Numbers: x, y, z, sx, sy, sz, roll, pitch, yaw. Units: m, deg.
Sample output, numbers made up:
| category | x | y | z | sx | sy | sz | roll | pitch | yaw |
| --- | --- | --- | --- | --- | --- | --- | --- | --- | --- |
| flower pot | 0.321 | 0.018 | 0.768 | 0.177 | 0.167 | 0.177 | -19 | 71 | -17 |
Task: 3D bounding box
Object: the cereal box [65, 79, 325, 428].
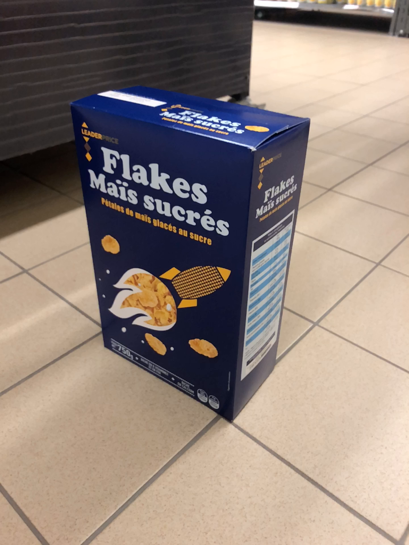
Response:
| category | x | y | z | sx | sy | sz | roll | pitch | yaw |
| --- | --- | --- | --- | --- | --- | --- | --- | --- | --- |
| cereal box | -0.014 | -0.020 | 0.482 | 0.210 | 0.308 | 0.101 | 22 | 39 | 29 |
